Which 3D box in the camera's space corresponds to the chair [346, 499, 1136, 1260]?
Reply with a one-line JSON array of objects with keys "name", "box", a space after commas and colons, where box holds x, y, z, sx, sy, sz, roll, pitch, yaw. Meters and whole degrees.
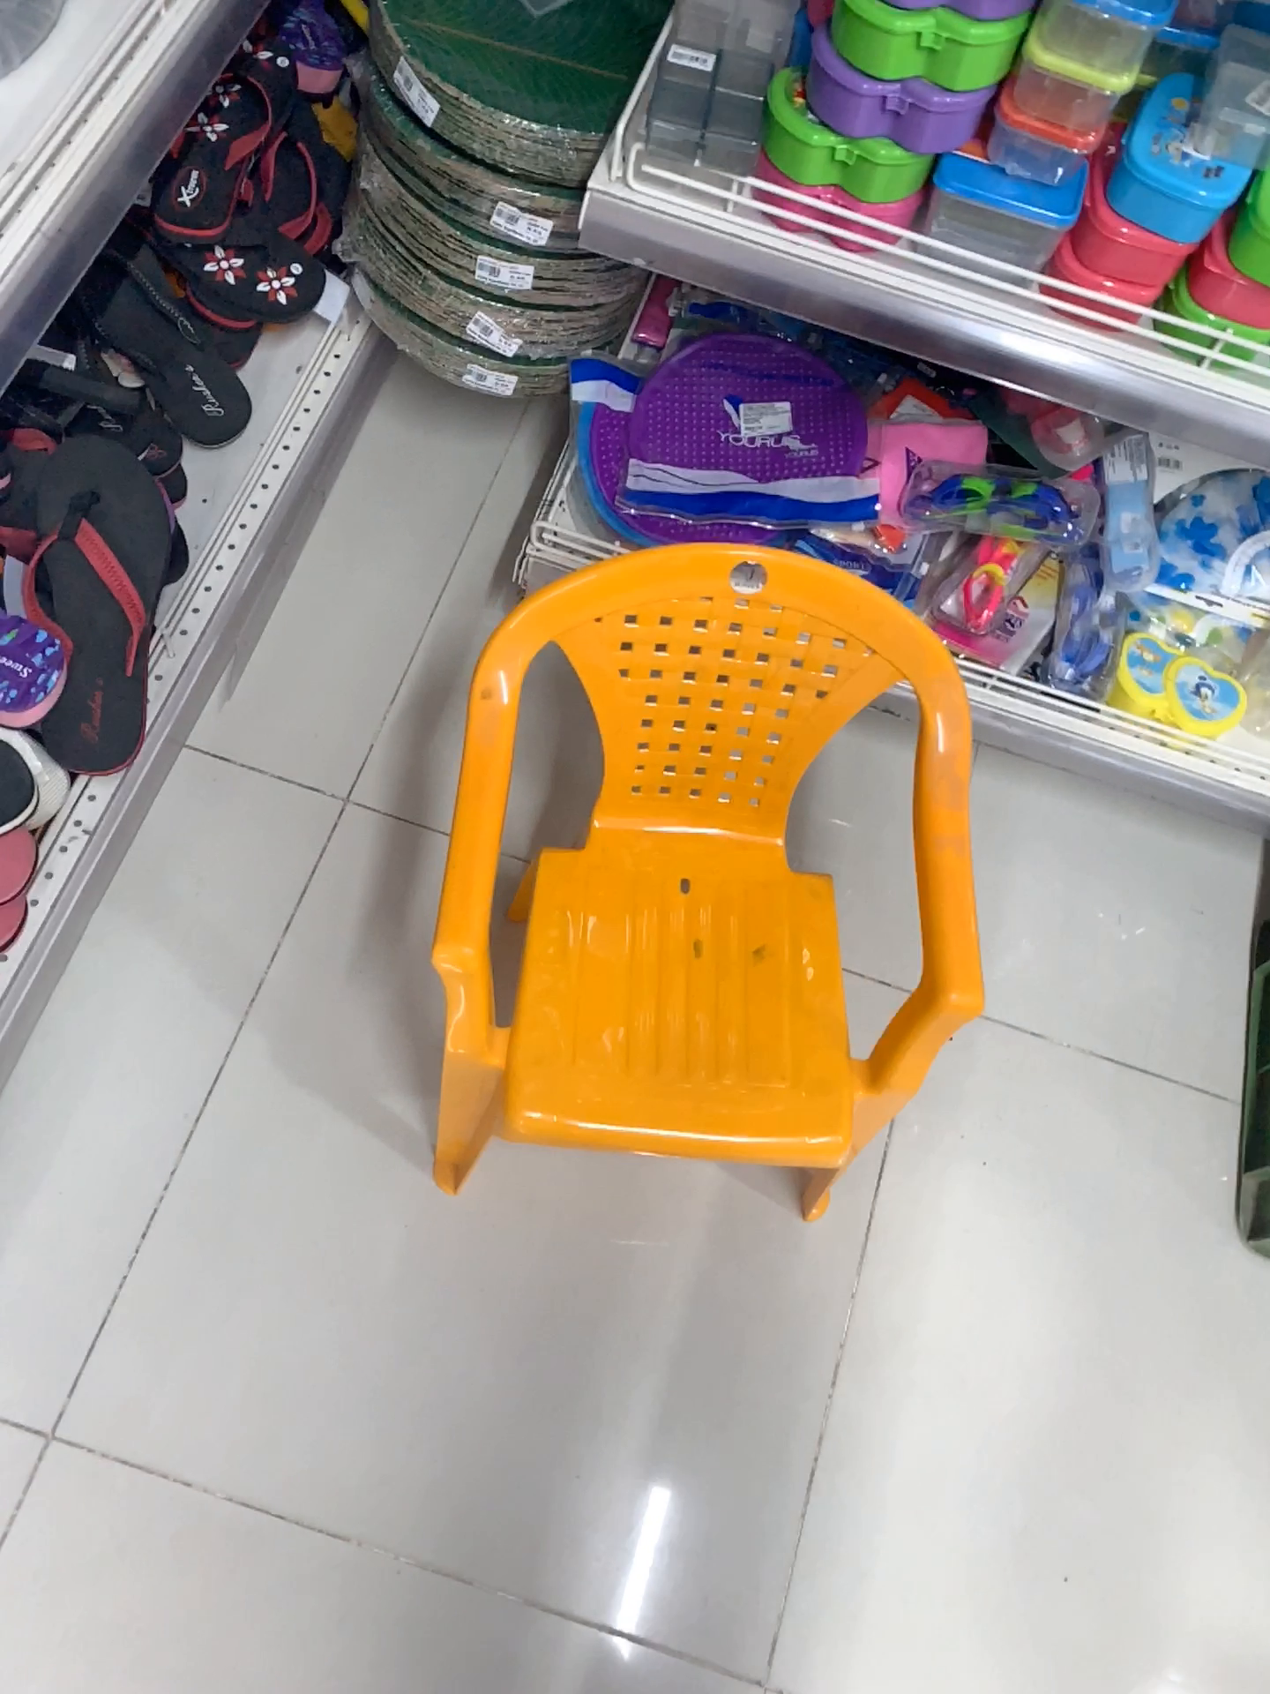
[{"name": "chair", "box": [0.044, 0.068, 0.927, 0.400, 0.460, 0.360, 6, 66, -4]}]
